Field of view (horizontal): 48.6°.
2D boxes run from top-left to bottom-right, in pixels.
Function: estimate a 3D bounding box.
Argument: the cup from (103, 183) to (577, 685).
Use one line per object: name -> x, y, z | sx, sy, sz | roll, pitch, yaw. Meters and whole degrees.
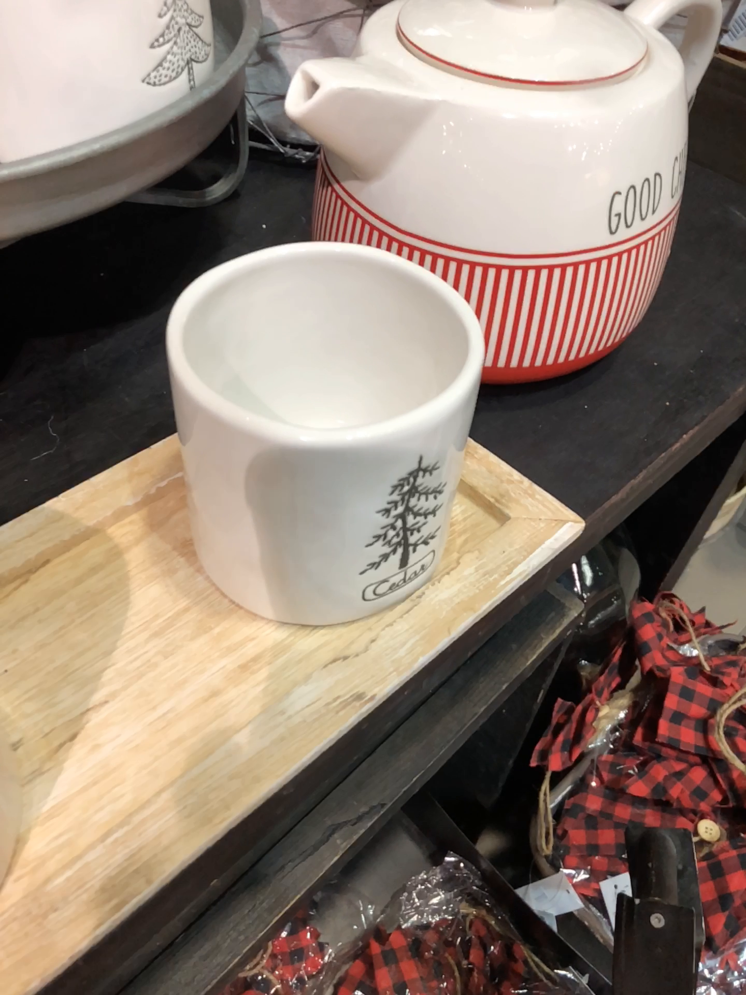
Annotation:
cup -> -0.013, -0.021, 0.261 | 0.097, 0.100, 0.087 | -24, 55, -23
